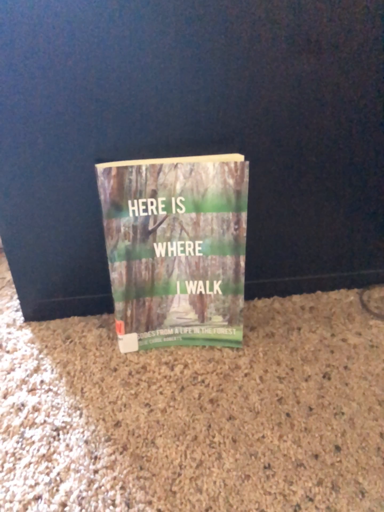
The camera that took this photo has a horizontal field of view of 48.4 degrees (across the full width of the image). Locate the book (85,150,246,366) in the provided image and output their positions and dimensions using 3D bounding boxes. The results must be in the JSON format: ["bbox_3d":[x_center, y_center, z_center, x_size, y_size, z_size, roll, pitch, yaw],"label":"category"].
[{"bbox_3d":[-0.022,0.006,0.441,0.146,0.212,0.037,-6,25,-9],"label":"book"}]
